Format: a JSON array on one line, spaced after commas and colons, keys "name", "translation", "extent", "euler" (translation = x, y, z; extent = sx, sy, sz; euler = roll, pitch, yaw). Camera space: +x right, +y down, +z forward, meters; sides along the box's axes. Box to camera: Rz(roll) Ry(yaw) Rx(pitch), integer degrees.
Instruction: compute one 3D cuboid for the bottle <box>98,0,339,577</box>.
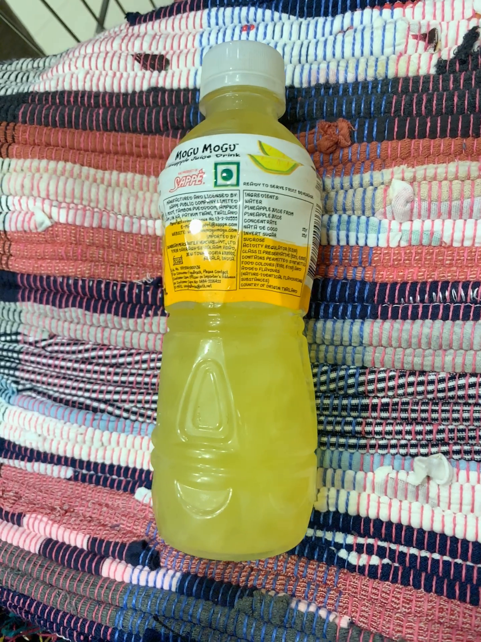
[{"name": "bottle", "translation": [-0.002, -0.023, 0.179], "extent": [0.060, 0.050, 0.190], "euler": [1, 82, 20]}]
